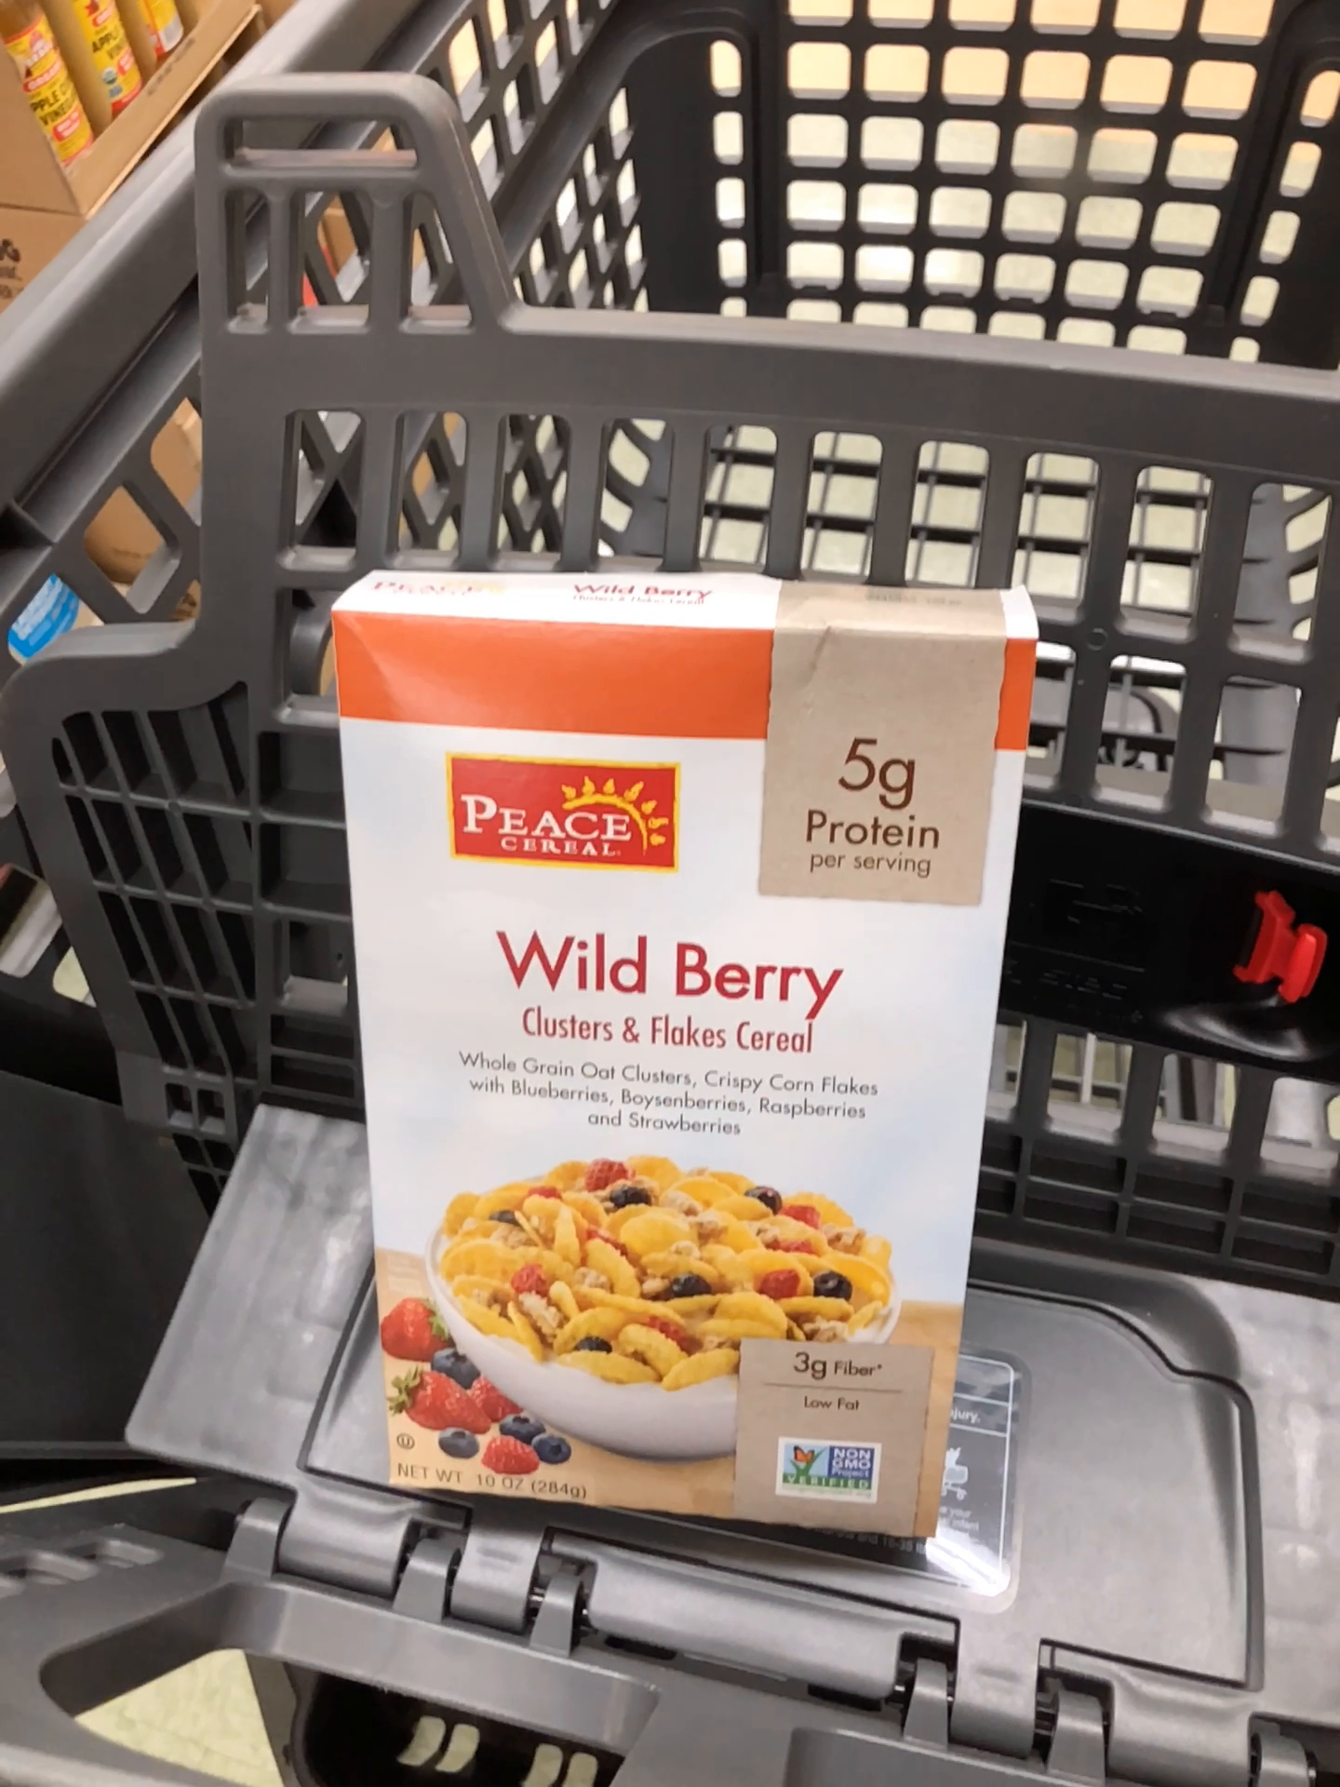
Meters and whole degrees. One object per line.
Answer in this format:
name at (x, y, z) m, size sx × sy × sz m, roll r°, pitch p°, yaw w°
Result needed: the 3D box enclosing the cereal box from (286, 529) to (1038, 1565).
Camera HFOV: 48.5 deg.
cereal box at (-0.001, 0.043, 0.388) m, size 0.160 × 0.260 × 0.060 m, roll 3°, pitch 21°, yaw 7°
